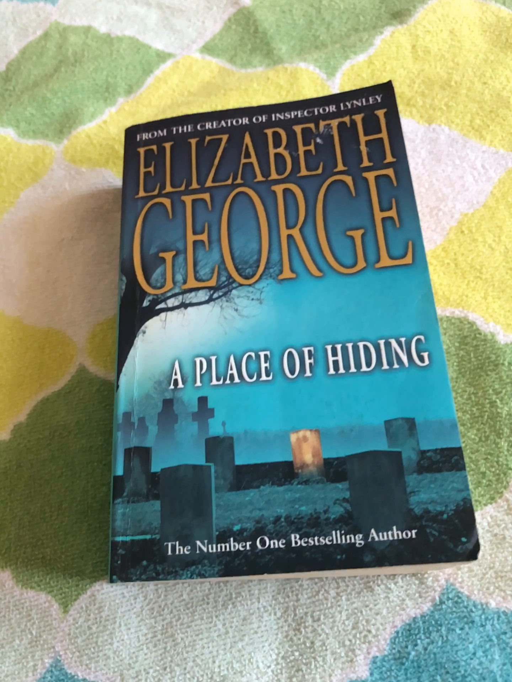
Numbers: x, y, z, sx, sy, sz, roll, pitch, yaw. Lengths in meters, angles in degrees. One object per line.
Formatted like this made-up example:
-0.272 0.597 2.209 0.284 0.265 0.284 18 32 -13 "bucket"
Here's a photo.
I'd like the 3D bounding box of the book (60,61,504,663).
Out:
-0.001 0.000 0.234 0.130 0.070 0.210 -5 71 -1 "book"
